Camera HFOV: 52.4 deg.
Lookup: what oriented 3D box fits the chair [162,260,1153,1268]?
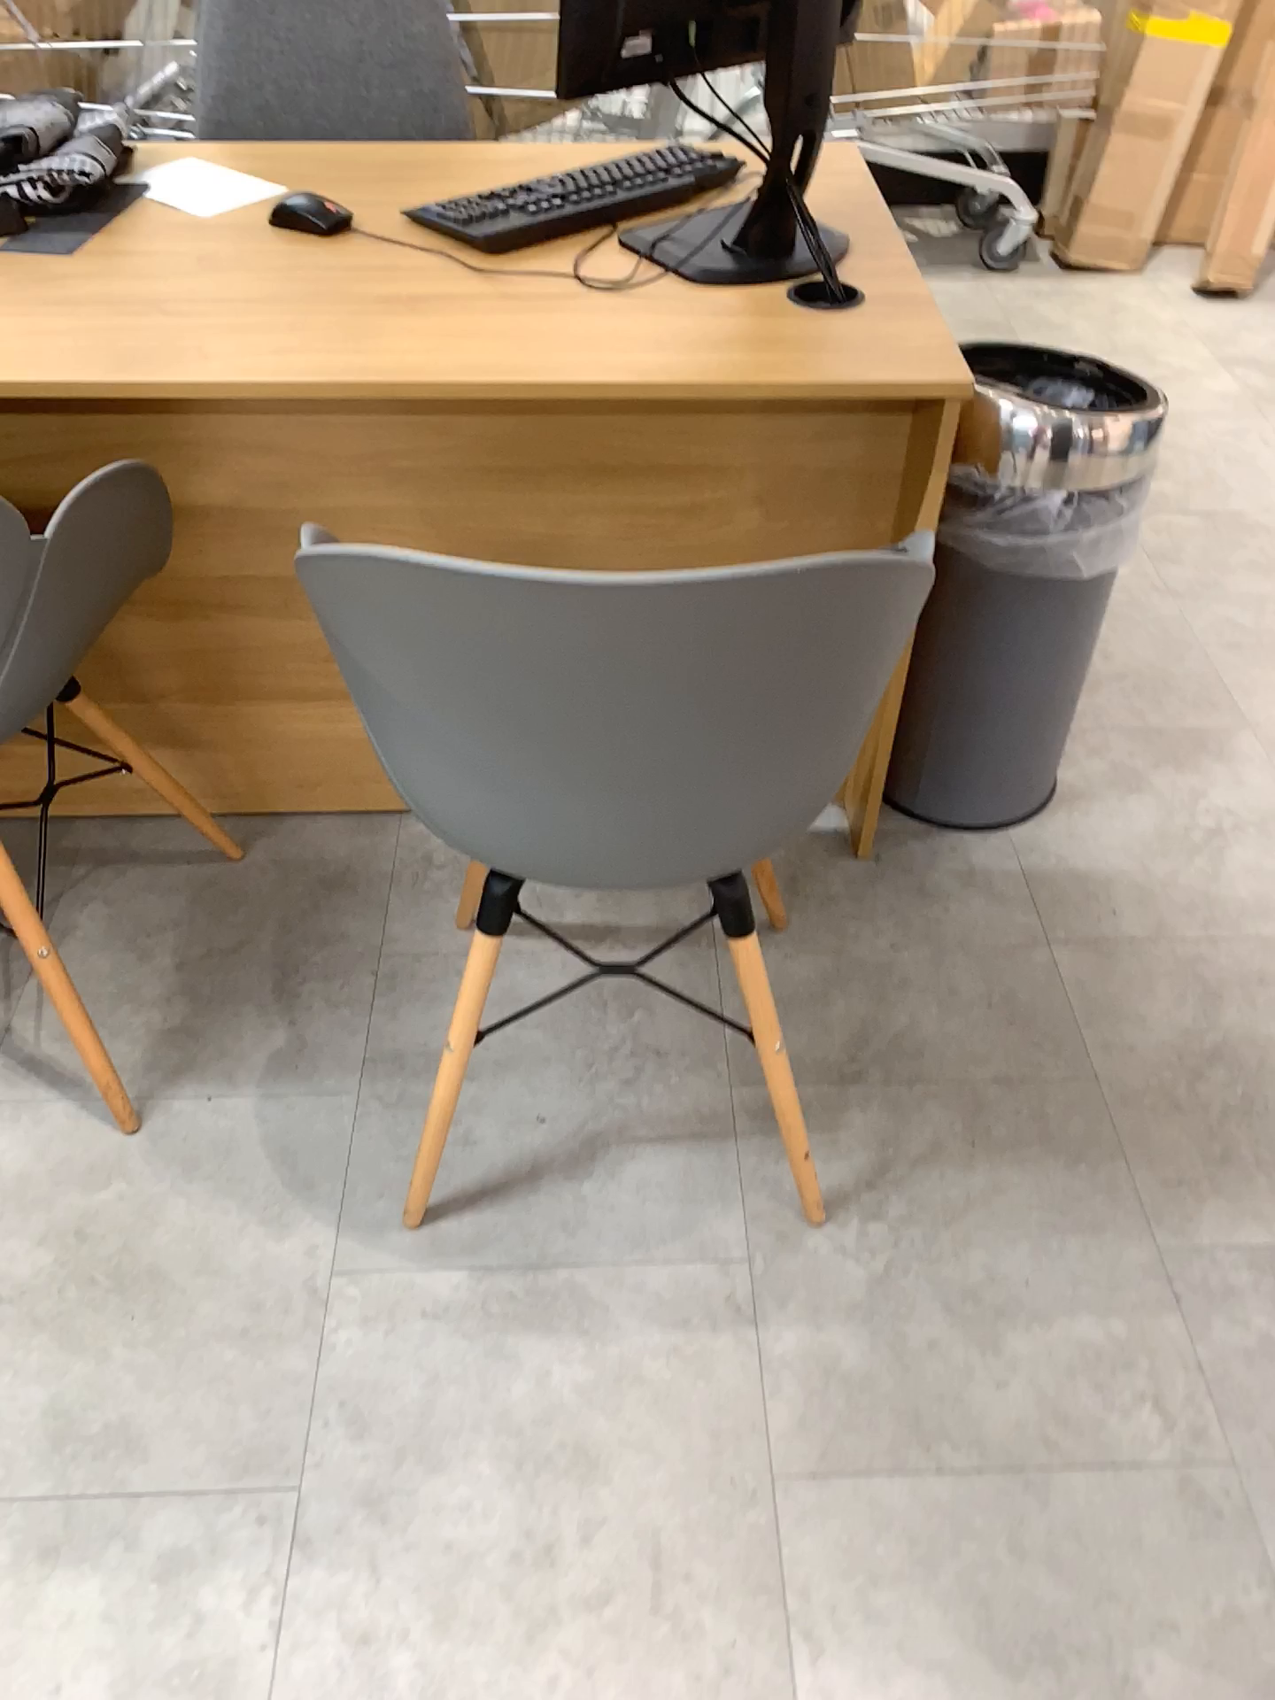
[{"bbox_3d":[0.006,-0.051,1.258,0.597,0.808,0.552,0,44,-1],"label":"chair"}]

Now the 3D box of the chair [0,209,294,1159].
[{"bbox_3d":[-0.772,-0.142,1.348,0.587,0.808,0.552,0,44,-1],"label":"chair"}]
